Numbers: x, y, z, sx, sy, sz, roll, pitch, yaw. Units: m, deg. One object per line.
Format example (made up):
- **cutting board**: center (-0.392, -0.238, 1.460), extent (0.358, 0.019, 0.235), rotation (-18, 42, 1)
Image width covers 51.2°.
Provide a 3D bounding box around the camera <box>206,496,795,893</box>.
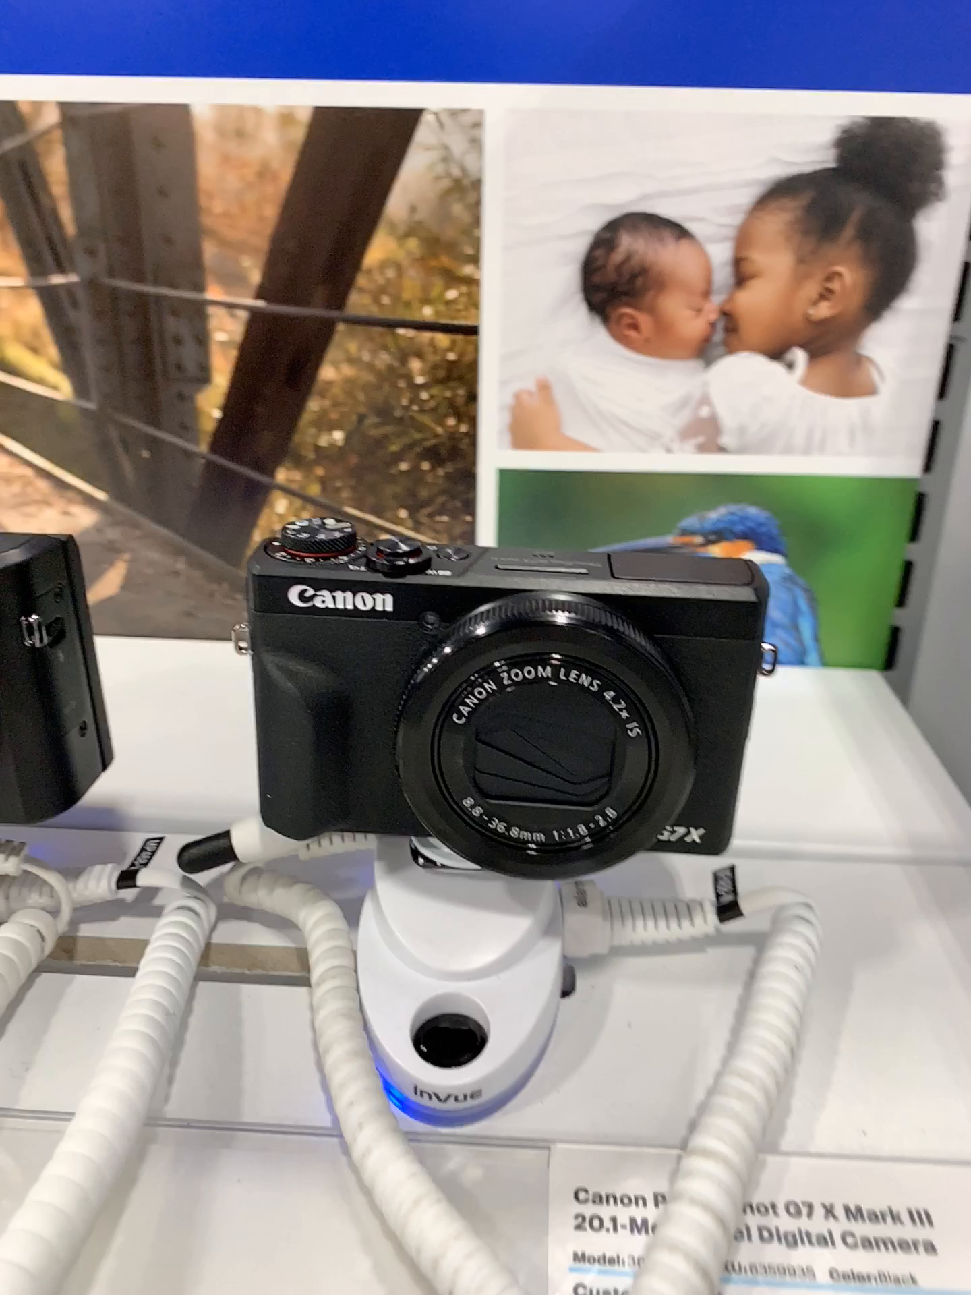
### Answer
- **camera**: center (0.003, 0.009, 0.221), extent (0.110, 0.070, 0.040), rotation (3, 23, 5)
